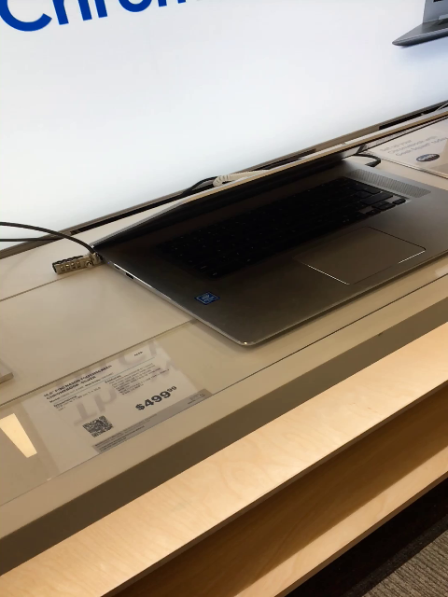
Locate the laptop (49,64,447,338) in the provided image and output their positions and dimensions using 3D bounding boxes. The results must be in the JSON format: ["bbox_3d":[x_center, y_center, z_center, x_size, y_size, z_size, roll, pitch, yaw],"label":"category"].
[{"bbox_3d":[0.084,-0.132,0.639,0.375,0.157,0.265,-28,41,-29],"label":"laptop"}]
